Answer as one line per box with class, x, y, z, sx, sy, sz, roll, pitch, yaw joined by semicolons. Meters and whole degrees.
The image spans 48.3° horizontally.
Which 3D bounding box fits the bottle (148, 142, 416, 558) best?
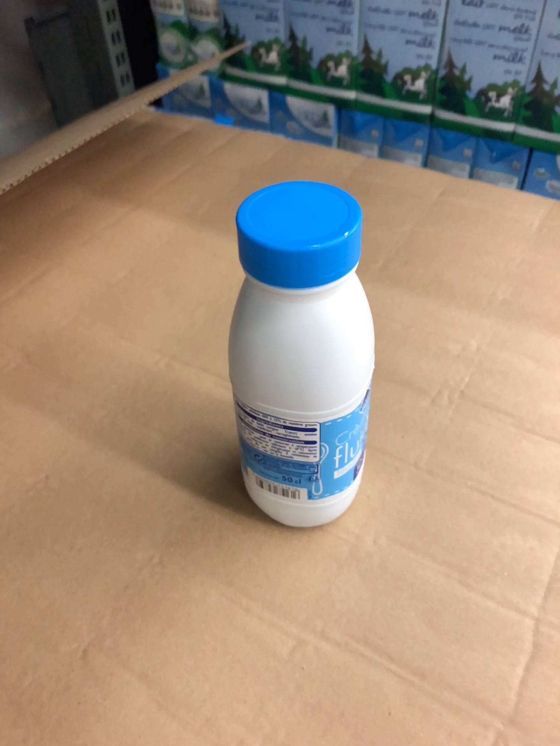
bottle;0.007;-0.001;0.313;0.080;0.189;0.081;-1;46;1
